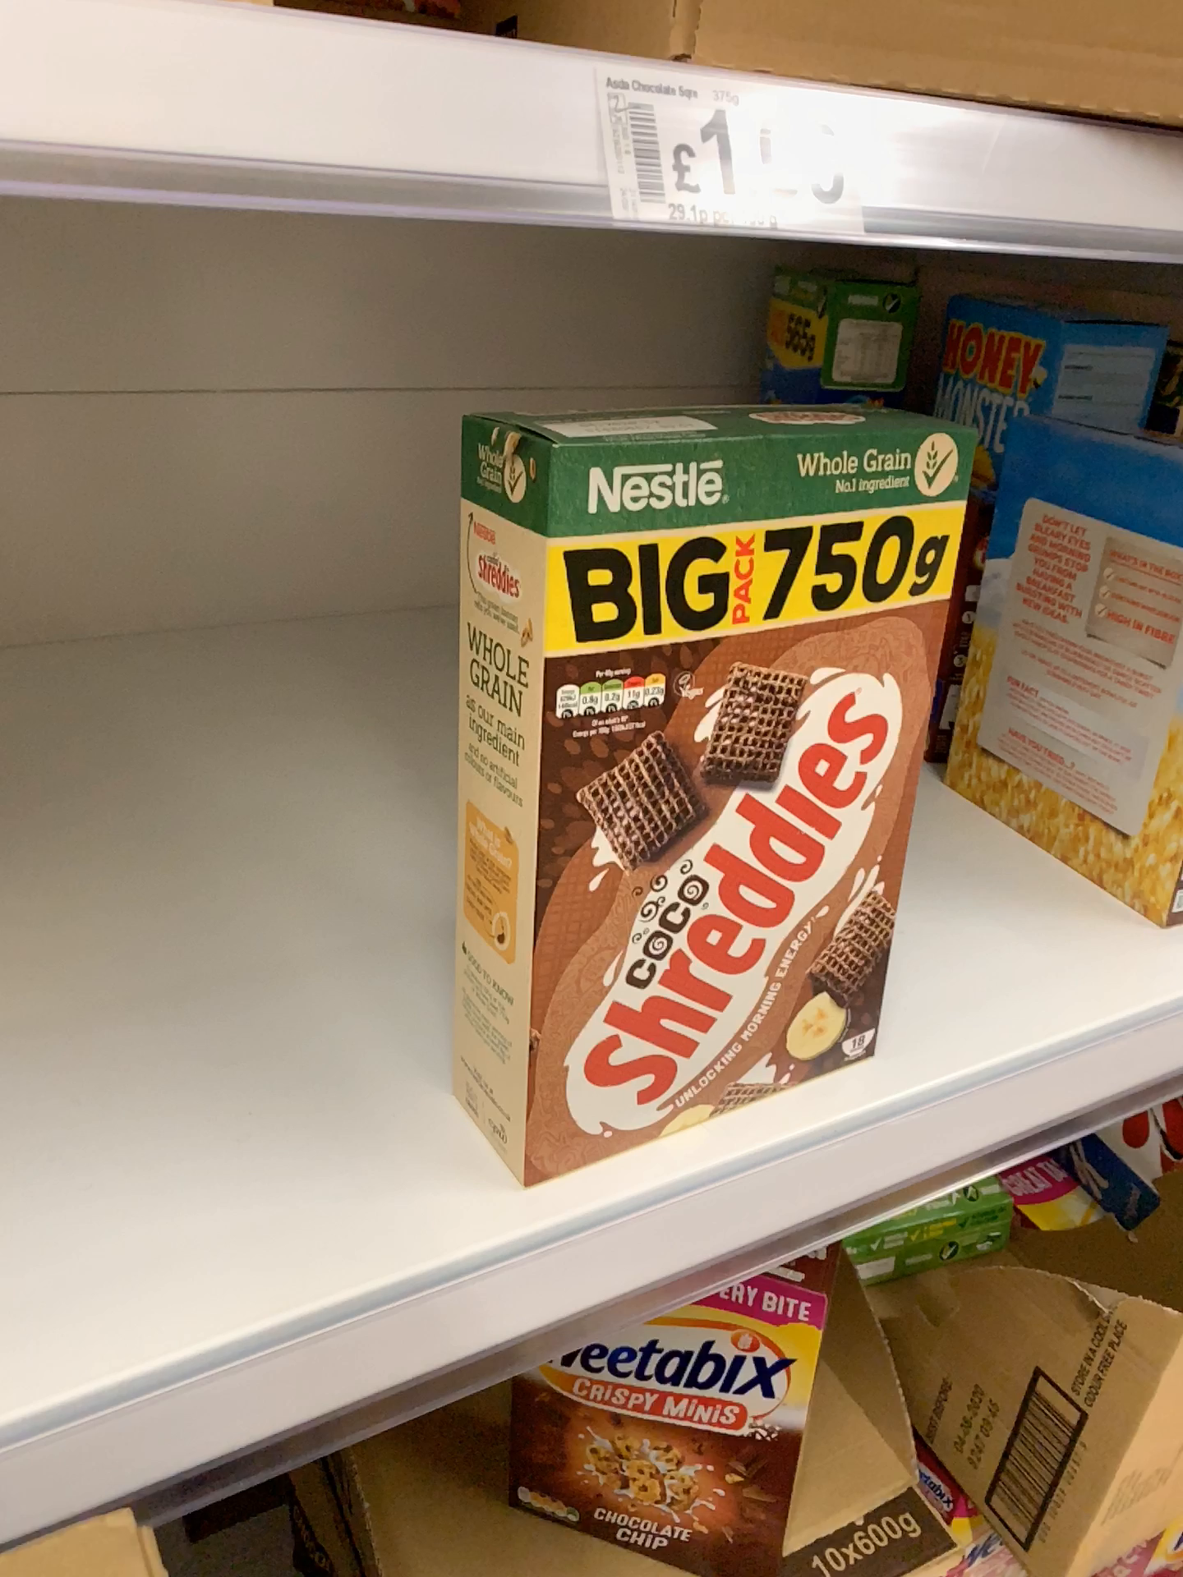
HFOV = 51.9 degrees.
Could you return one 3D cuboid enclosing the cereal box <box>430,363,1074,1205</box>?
[{"bbox_3d":[0.052,-0.009,0.475,0.211,0.288,0.080,-11,29,-30],"label":"cereal box"}]
